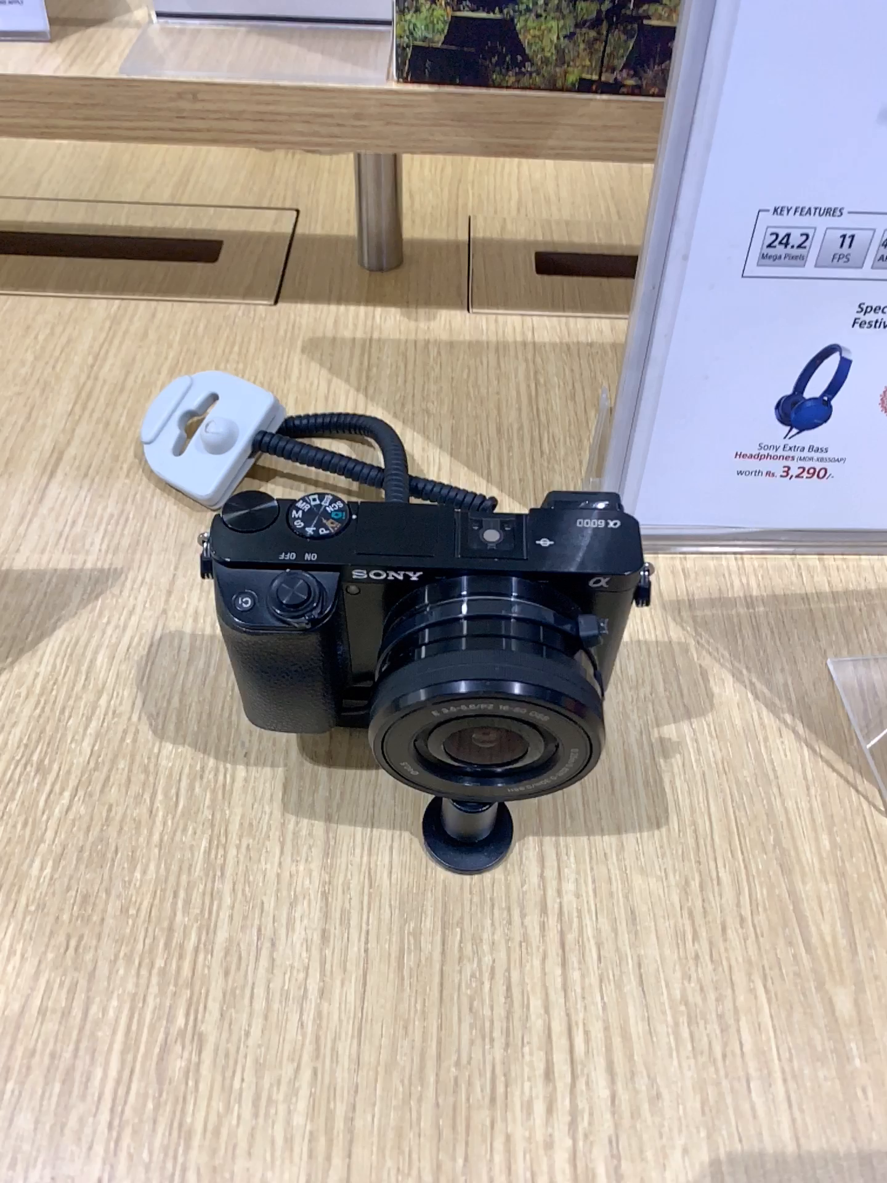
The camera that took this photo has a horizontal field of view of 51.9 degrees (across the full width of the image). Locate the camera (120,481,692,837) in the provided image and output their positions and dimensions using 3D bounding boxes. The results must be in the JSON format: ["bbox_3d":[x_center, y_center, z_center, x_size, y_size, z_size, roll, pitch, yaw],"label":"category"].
[{"bbox_3d":[-0.009,0.020,0.256,0.130,0.070,0.070,1,51,-1],"label":"camera"}]
